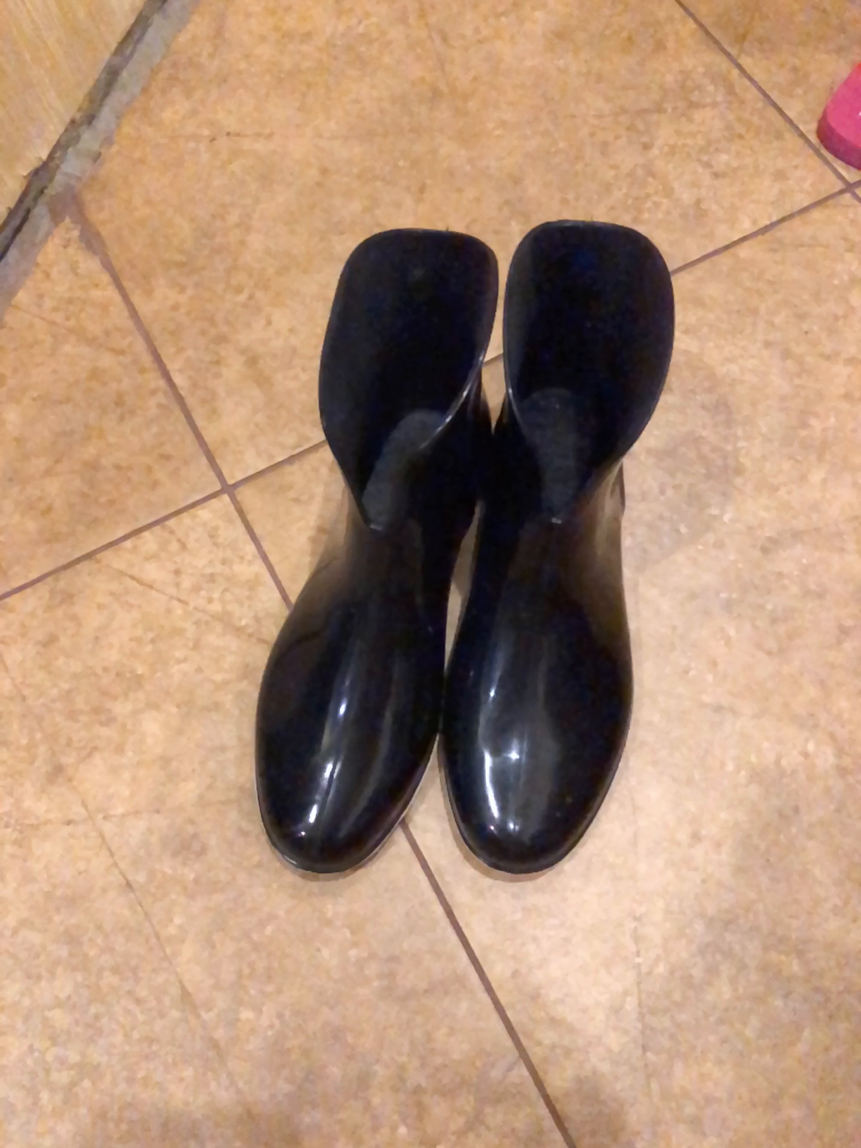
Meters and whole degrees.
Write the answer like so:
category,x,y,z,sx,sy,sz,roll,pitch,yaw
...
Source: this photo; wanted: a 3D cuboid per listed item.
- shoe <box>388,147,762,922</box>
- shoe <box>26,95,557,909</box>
category,x,y,z,sx,sy,sz,roll,pitch,yaw
shoe,0.059,0.002,0.439,0.110,0.229,0.281,5,68,3
shoe,-0.033,-0.011,0.430,0.110,0.229,0.281,11,69,5
